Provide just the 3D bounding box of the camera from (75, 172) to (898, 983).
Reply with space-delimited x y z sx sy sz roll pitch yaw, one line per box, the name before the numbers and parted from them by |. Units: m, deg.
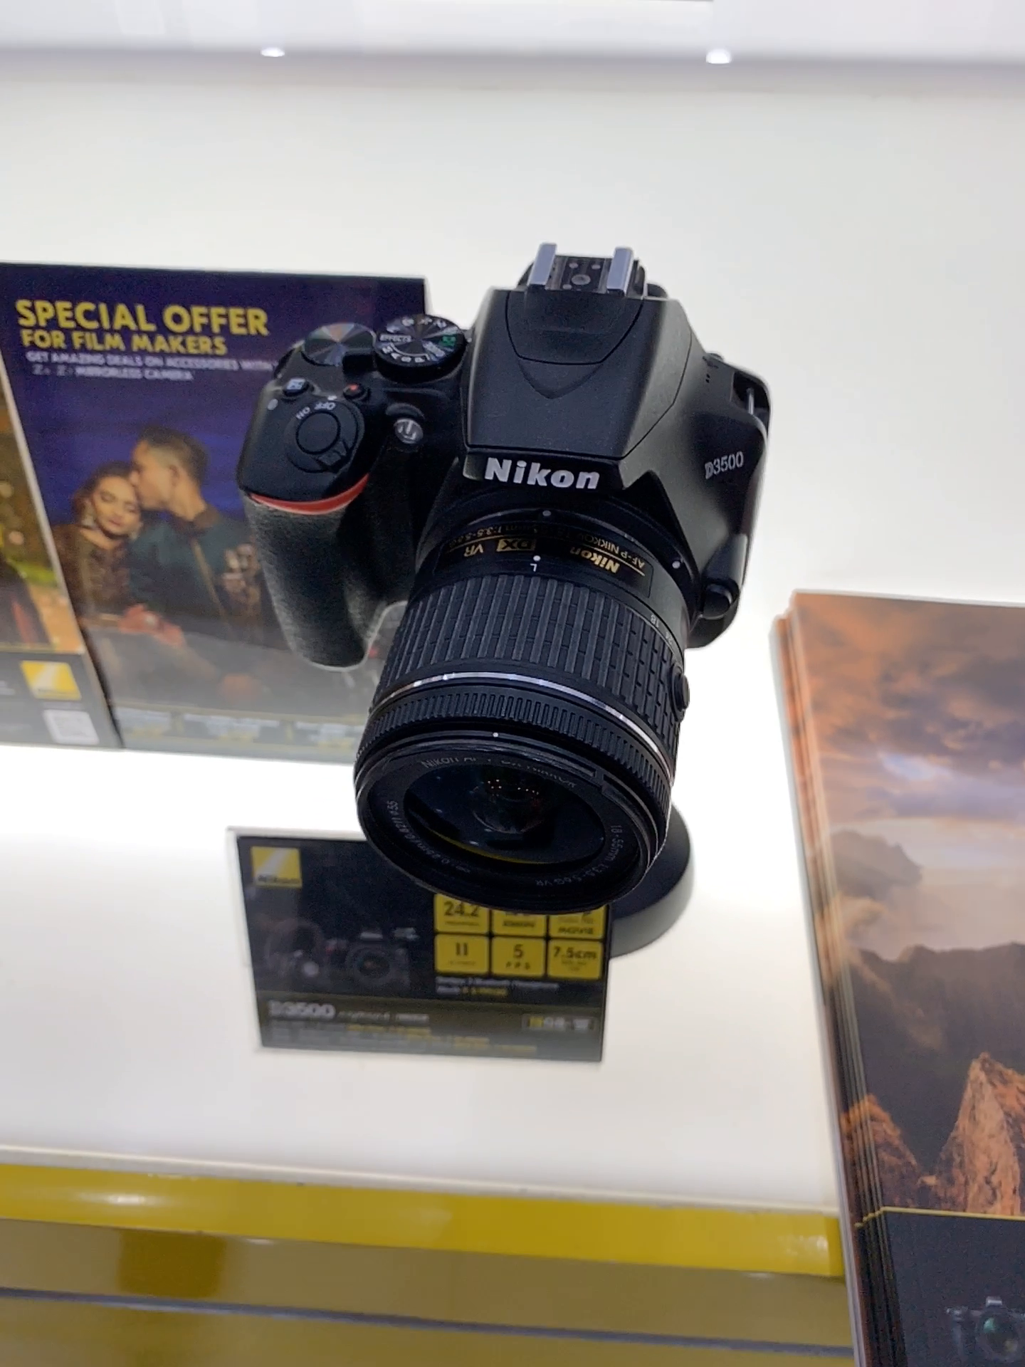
camera | 0.006 -0.032 0.216 0.110 0.070 0.150 6 49 6
